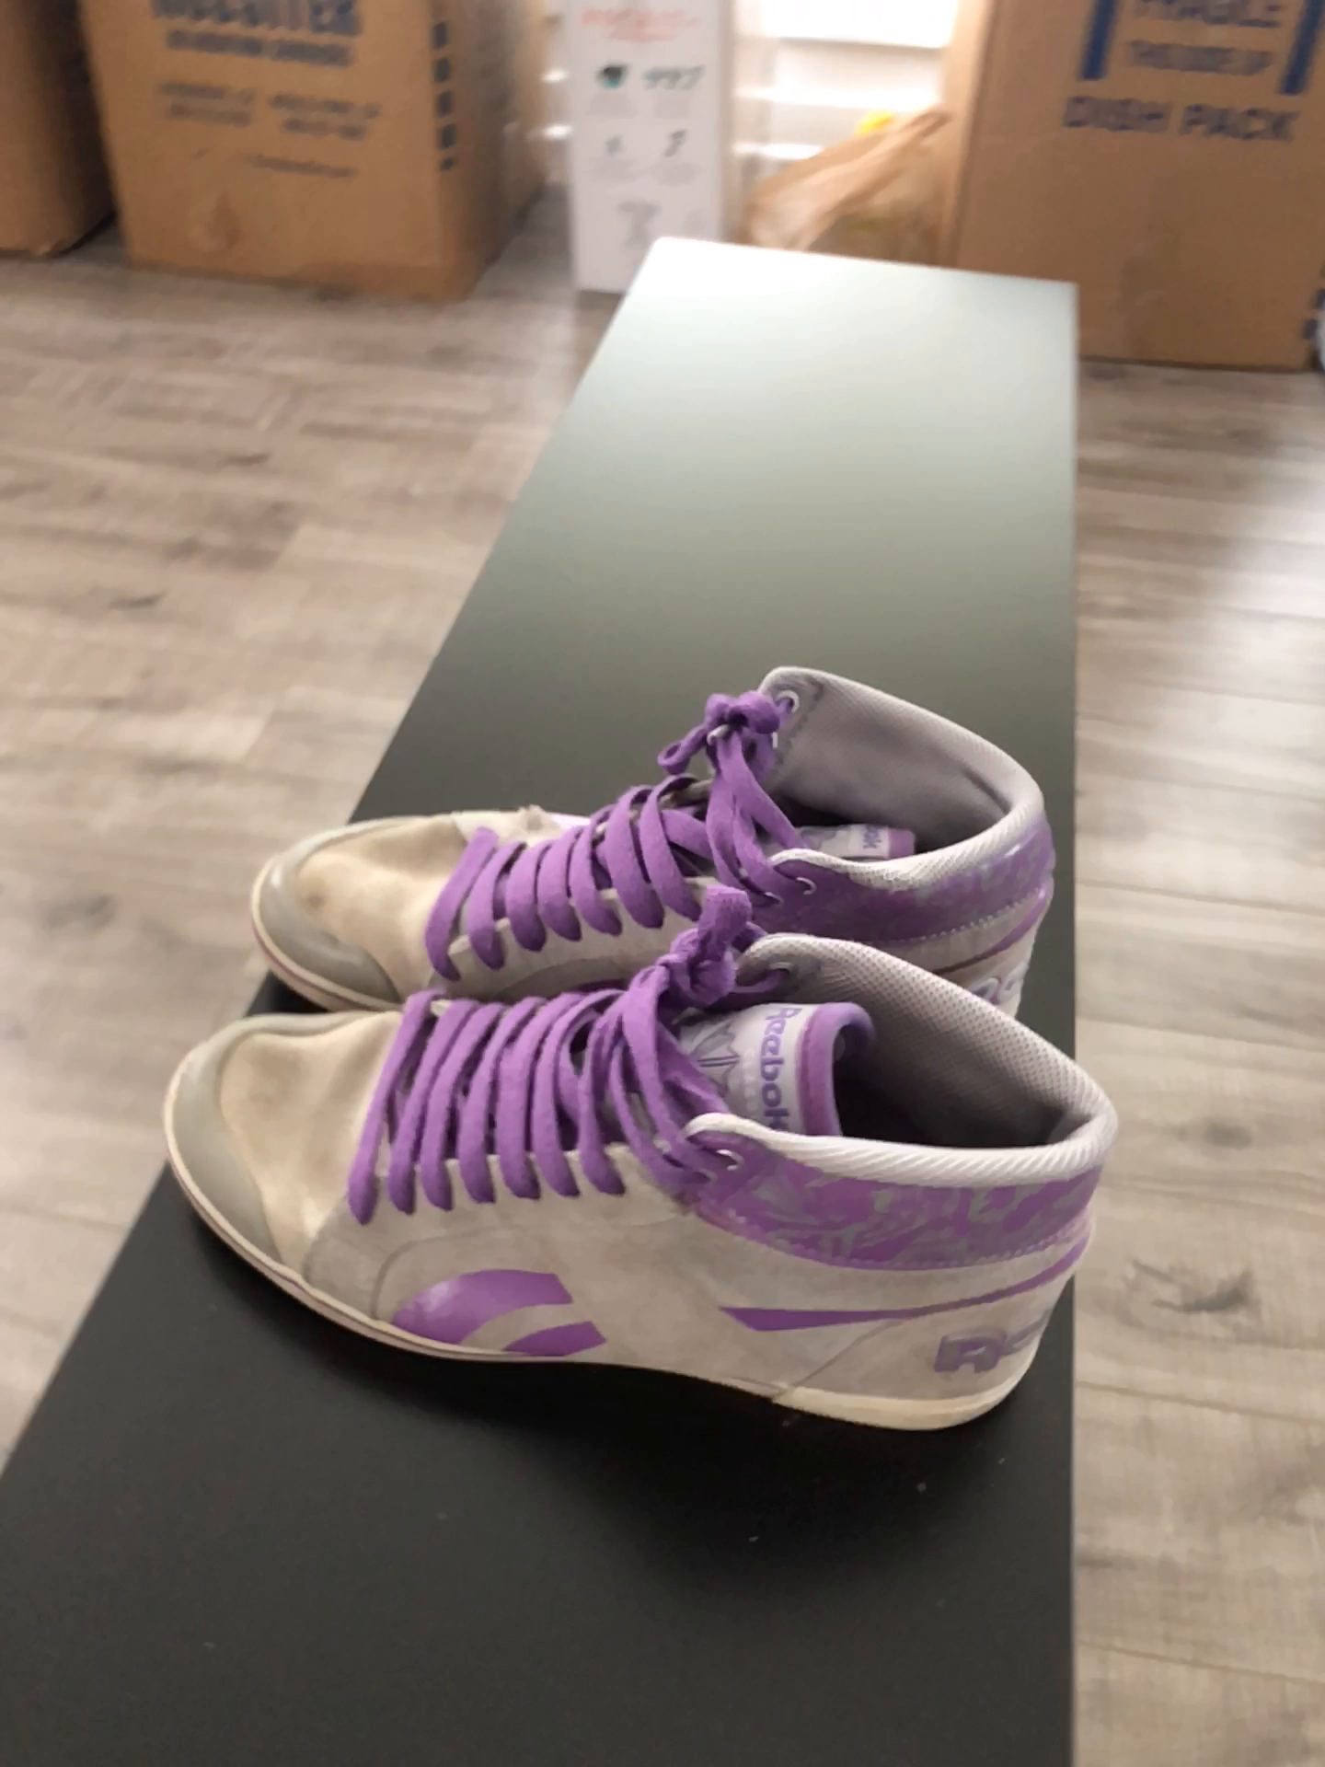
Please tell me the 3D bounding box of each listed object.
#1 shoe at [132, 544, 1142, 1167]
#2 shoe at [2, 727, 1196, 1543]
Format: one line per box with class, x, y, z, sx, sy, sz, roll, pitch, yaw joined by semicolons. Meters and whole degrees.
shoe;-0.005;-0.008;0.425;0.240;0.120;0.100;6;44;3
shoe;-0.012;0.056;0.354;0.240;0.110;0.090;13;45;10
